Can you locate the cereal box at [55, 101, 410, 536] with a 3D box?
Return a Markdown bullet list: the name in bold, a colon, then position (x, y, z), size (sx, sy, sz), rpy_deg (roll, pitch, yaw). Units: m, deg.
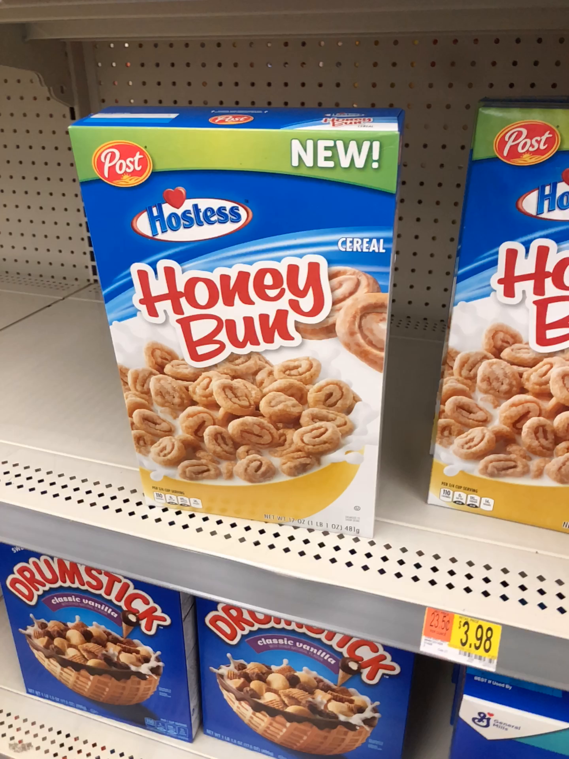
- **cereal box**: position (-0.023, -0.034, 0.456), size (0.200, 0.299, 0.070), rpy_deg (6, 33, 13)
